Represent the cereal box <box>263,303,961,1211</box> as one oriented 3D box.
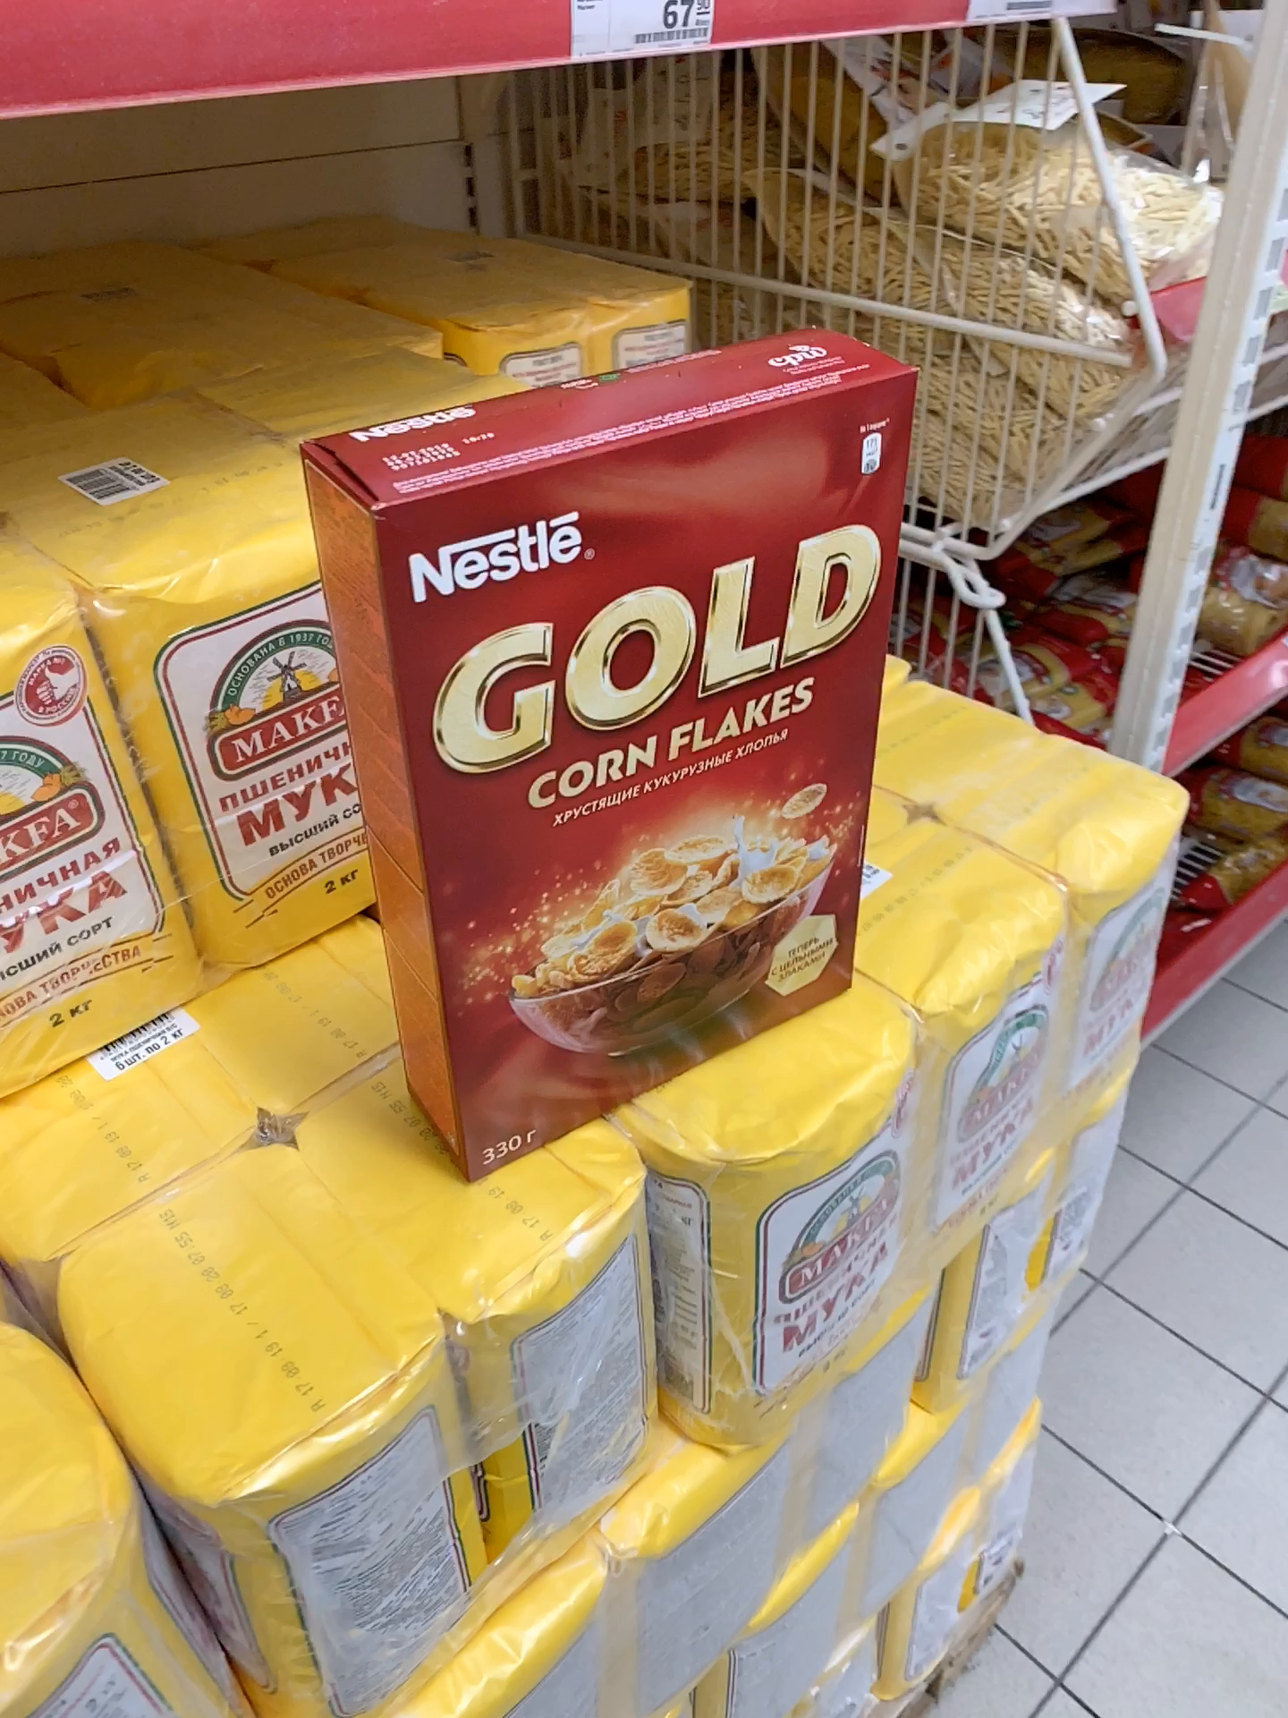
[{"bbox_3d":[-0.006,-0.033,0.491,0.211,0.287,0.070,-21,42,-28],"label":"cereal box"}]
